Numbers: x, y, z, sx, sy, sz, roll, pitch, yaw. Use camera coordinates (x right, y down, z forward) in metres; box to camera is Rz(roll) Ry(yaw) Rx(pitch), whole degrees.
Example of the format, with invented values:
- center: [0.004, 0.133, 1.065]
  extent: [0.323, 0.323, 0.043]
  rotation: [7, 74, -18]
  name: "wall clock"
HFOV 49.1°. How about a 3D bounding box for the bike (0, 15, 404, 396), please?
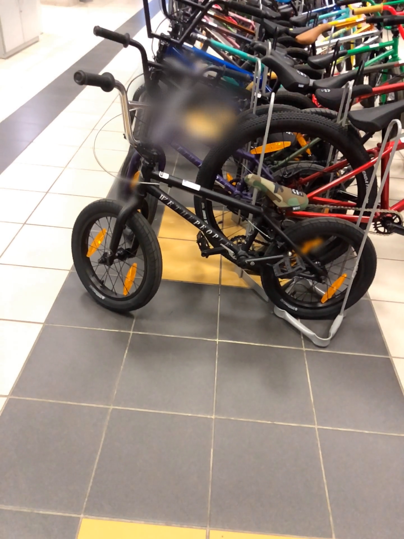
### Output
- center: [0.086, -0.229, 1.416]
  extent: [1.071, 0.809, 0.680]
  rotation: [9, 36, 2]
  name: "bike"
